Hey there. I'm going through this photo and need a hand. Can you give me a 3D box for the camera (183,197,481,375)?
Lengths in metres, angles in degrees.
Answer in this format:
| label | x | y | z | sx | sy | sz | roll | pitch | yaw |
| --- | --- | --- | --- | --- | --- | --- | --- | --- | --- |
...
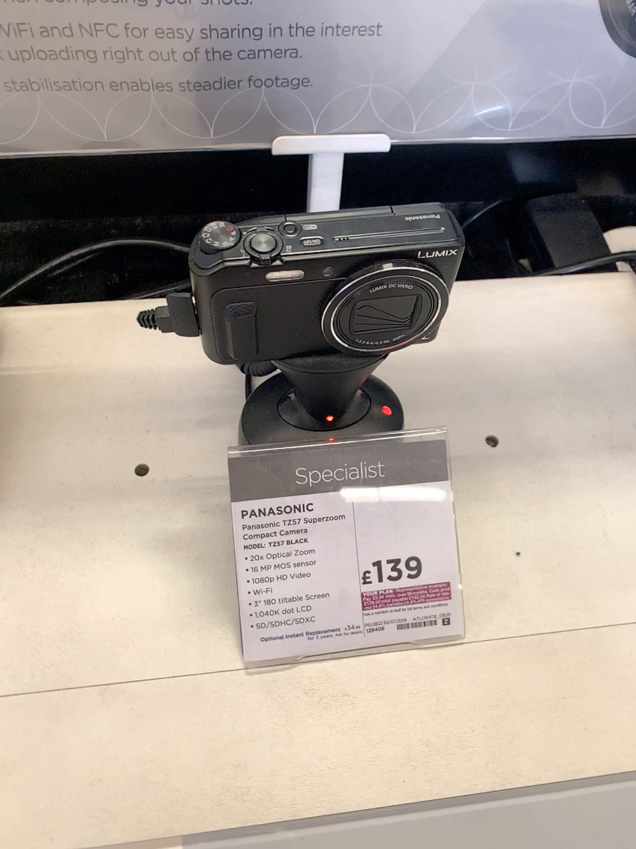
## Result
| label | x | y | z | sx | sy | sz | roll | pitch | yaw |
| --- | --- | --- | --- | --- | --- | --- | --- | --- | --- |
| camera | 0.004 | -0.057 | 0.276 | 0.111 | 0.060 | 0.030 | -7 | 59 | -8 |
